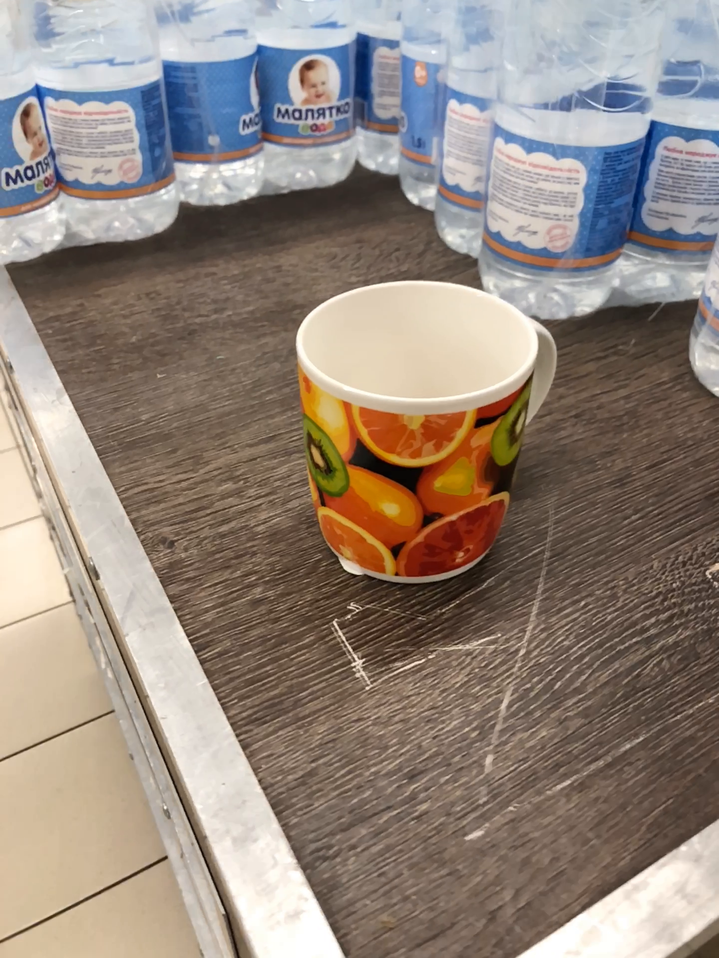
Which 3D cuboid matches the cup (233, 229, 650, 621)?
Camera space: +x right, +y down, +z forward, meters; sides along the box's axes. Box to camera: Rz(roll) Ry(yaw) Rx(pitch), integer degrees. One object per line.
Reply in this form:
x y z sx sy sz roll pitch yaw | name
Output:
0.032 -0.030 0.320 0.126 0.085 0.091 -28 47 -30 | cup
